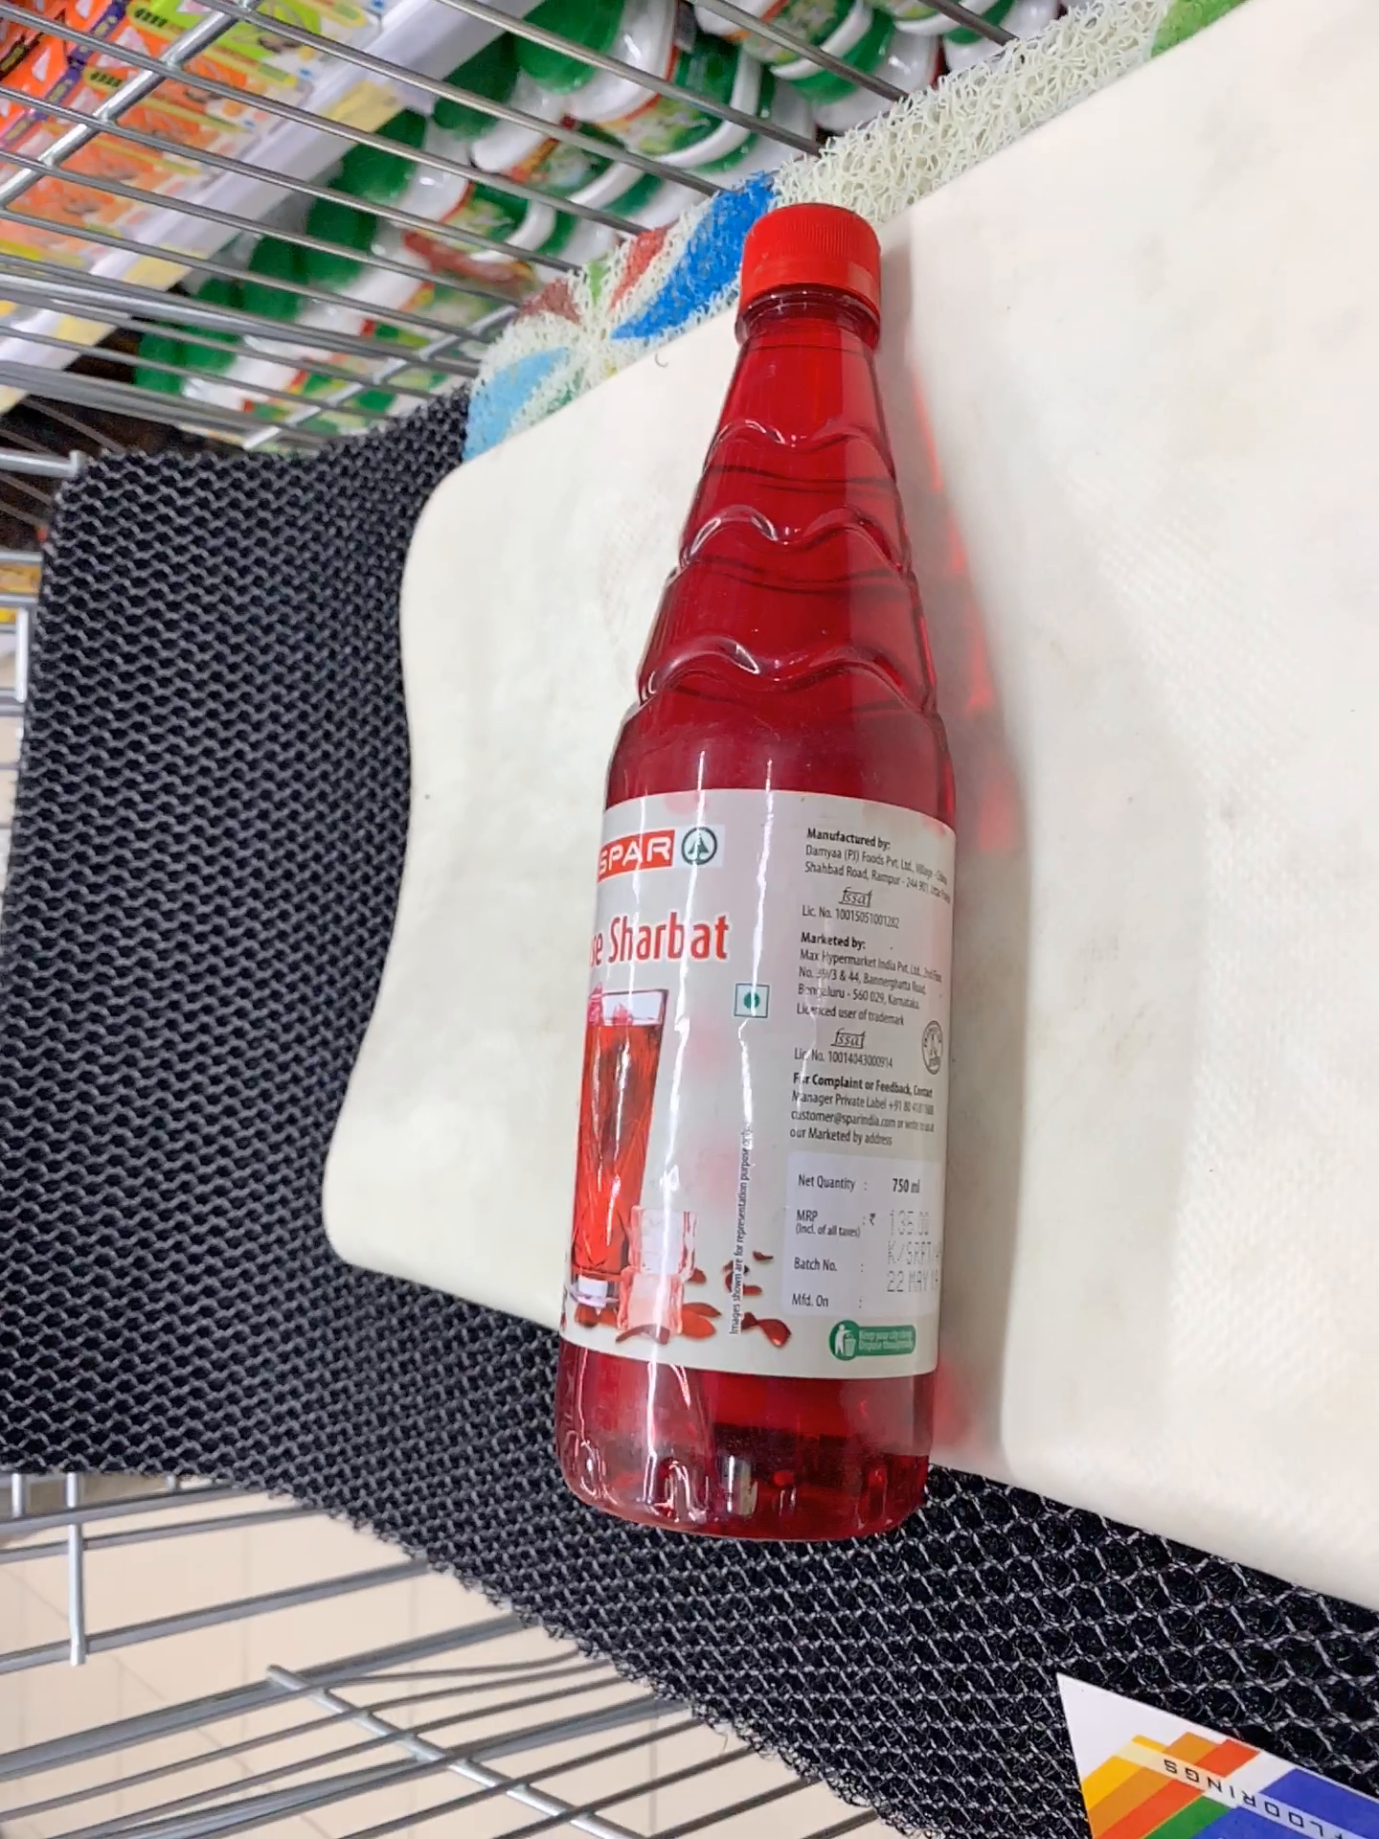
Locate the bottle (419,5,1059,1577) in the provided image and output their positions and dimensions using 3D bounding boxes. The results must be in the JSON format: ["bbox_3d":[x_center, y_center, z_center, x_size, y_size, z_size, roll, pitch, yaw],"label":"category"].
[{"bbox_3d":[0.011,-0.020,0.252,0.070,0.070,0.230,-7,76,52],"label":"bottle"}]
